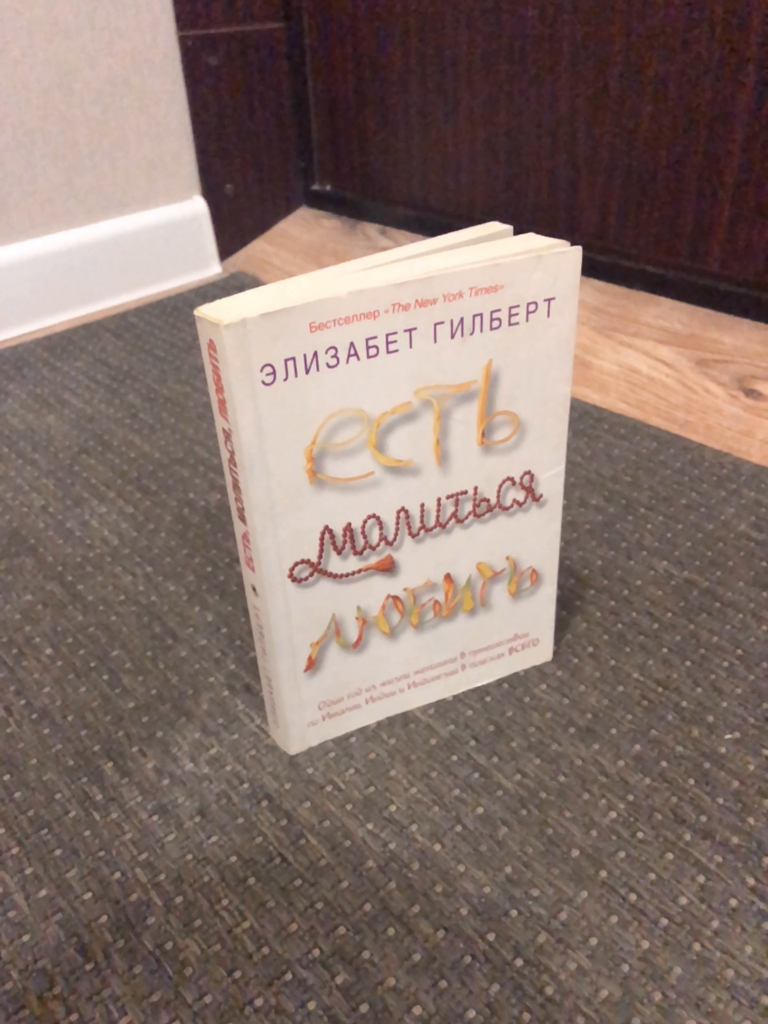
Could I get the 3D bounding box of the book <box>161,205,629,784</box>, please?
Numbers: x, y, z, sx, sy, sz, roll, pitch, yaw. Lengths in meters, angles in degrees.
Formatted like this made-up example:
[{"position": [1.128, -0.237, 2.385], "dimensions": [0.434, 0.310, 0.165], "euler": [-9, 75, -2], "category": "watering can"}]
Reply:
[{"position": [0.008, -0.006, 0.378], "dimensions": [0.161, 0.213, 0.068], "euler": [-19, 39, -23], "category": "book"}]
